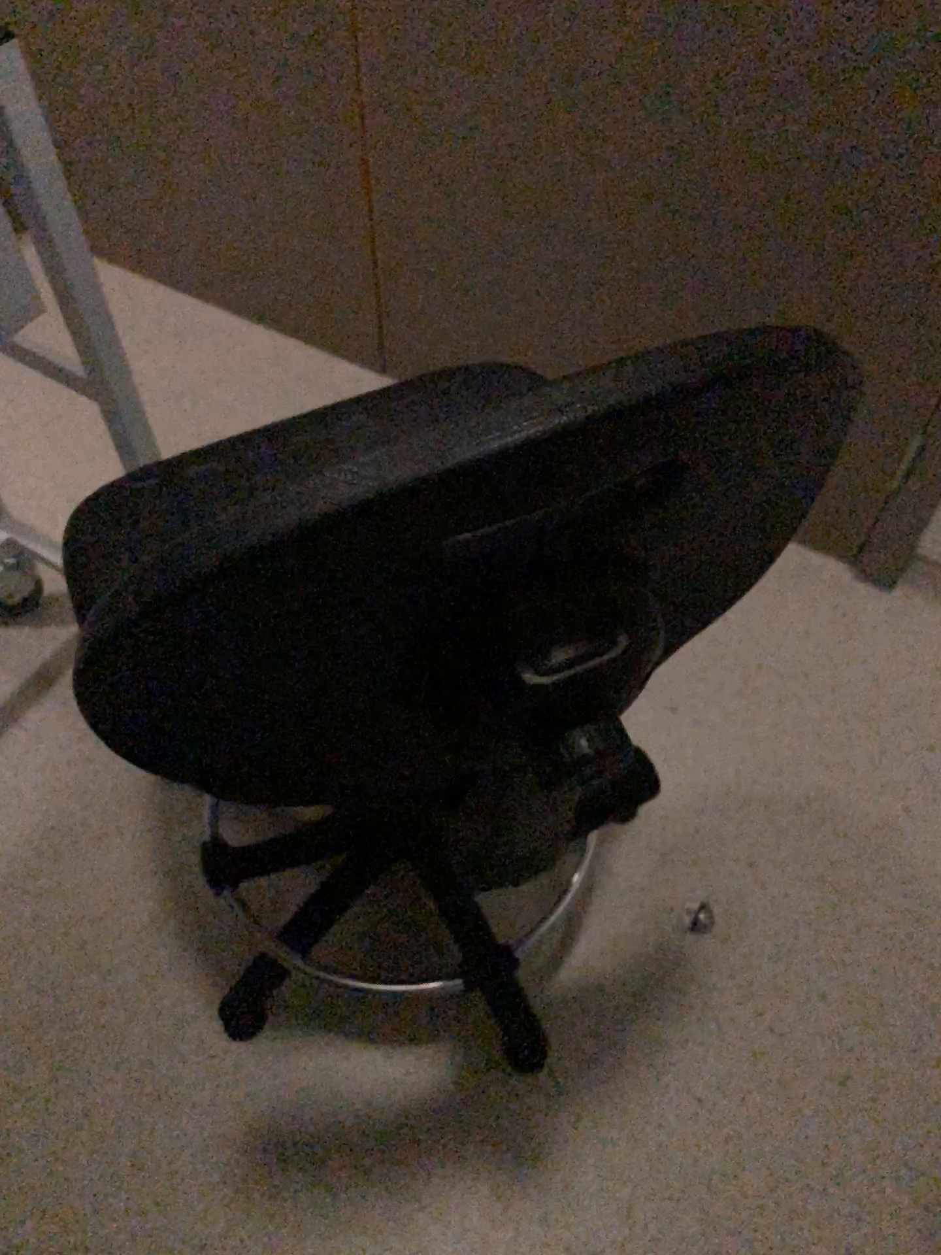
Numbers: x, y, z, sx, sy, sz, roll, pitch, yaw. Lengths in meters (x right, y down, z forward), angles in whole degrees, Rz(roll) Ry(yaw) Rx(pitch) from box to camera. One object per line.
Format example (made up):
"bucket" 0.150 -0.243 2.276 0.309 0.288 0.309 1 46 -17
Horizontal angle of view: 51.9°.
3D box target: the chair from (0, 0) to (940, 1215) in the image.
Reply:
"chair" -0.049 -0.049 0.811 0.621 0.933 0.674 -20 58 -14
